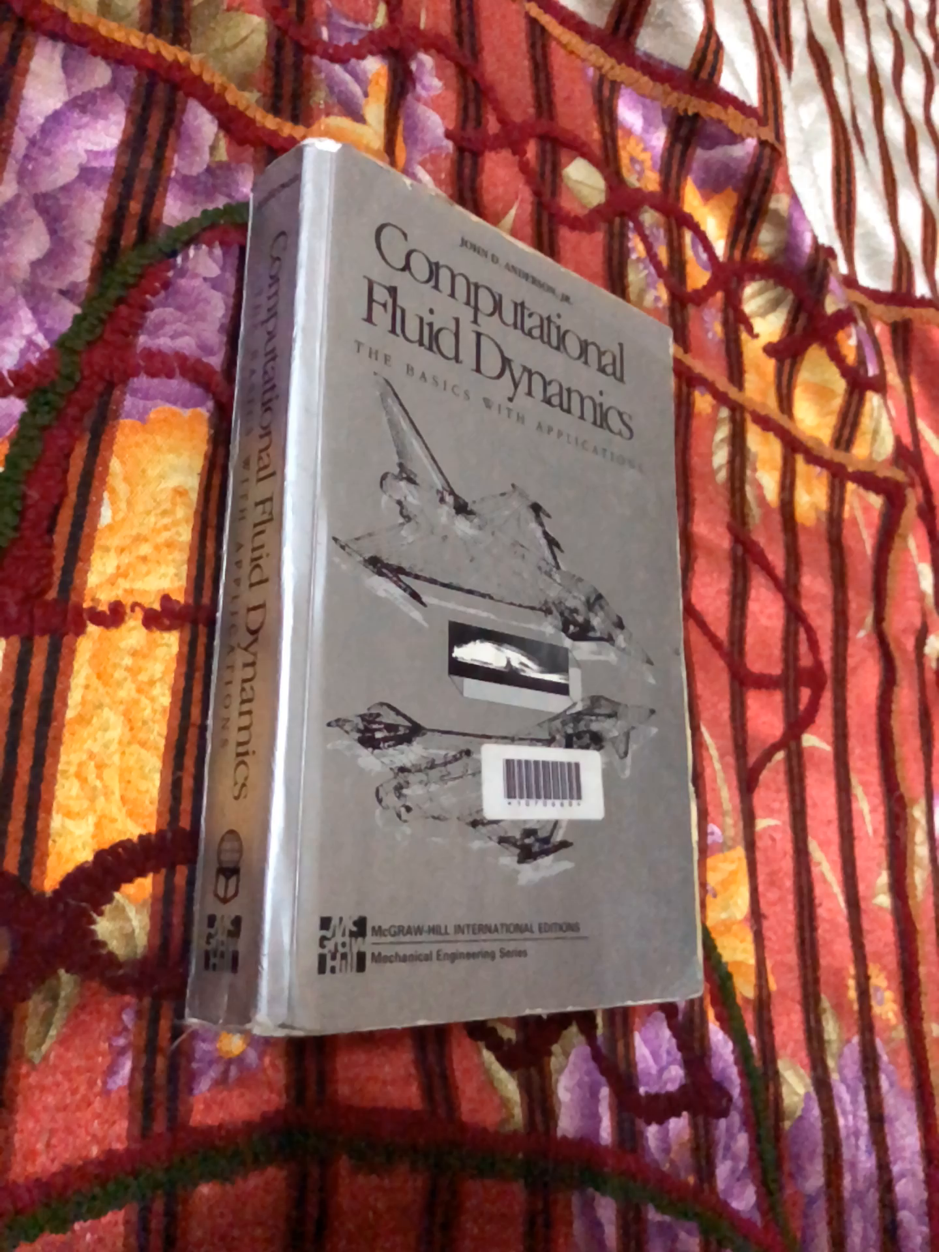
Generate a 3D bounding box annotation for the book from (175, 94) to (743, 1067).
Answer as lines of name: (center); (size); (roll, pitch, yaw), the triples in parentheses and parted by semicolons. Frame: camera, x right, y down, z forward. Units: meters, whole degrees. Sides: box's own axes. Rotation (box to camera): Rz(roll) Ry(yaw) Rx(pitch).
book: (0.007, -0.006, 0.305); (0.159, 0.046, 0.229); (12, 73, -40)
